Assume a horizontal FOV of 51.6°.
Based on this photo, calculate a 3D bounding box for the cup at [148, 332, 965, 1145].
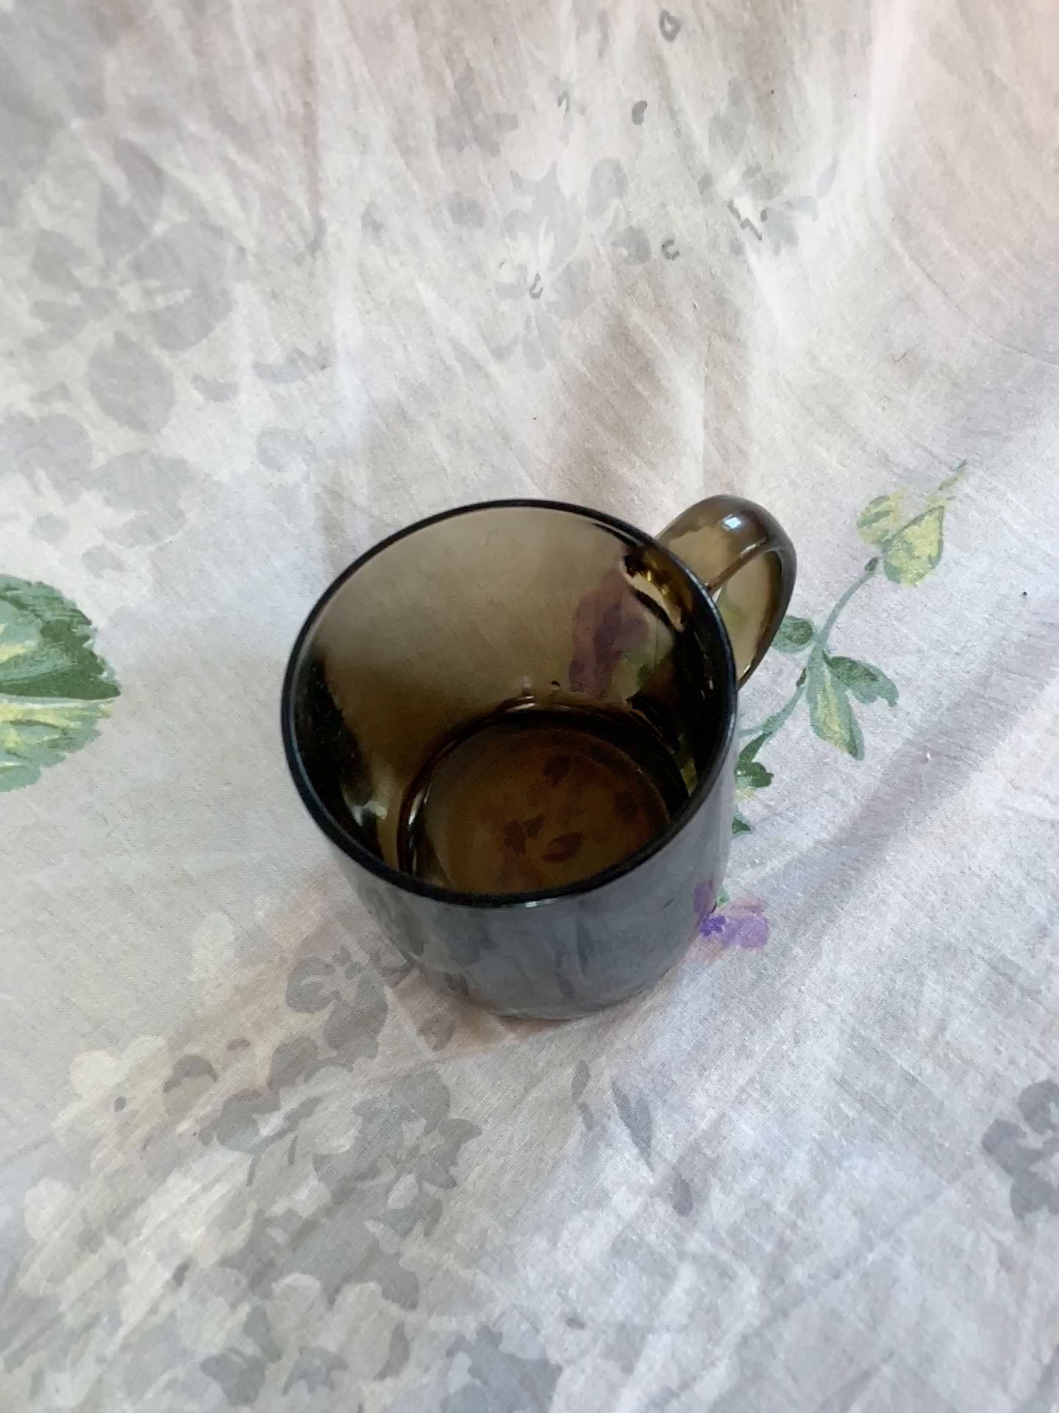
[{"bbox_3d":[0.011,0.012,0.231,0.081,0.099,0.120,37,75,21],"label":"cup"}]
